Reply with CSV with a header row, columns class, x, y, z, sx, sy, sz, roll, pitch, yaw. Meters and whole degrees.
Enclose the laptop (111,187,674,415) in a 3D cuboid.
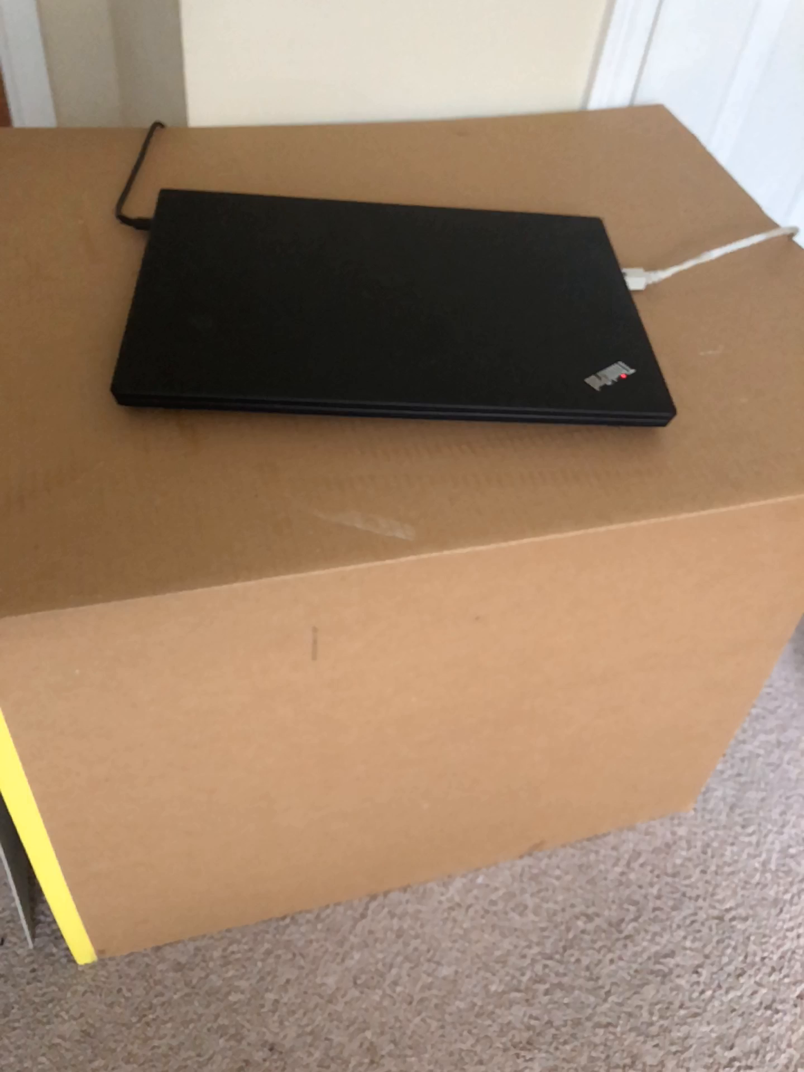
class,x,y,z,sx,sy,sz,roll,pitch,yaw
laptop,-0.004,-0.162,0.591,0.327,0.002,0.226,2,48,-7
